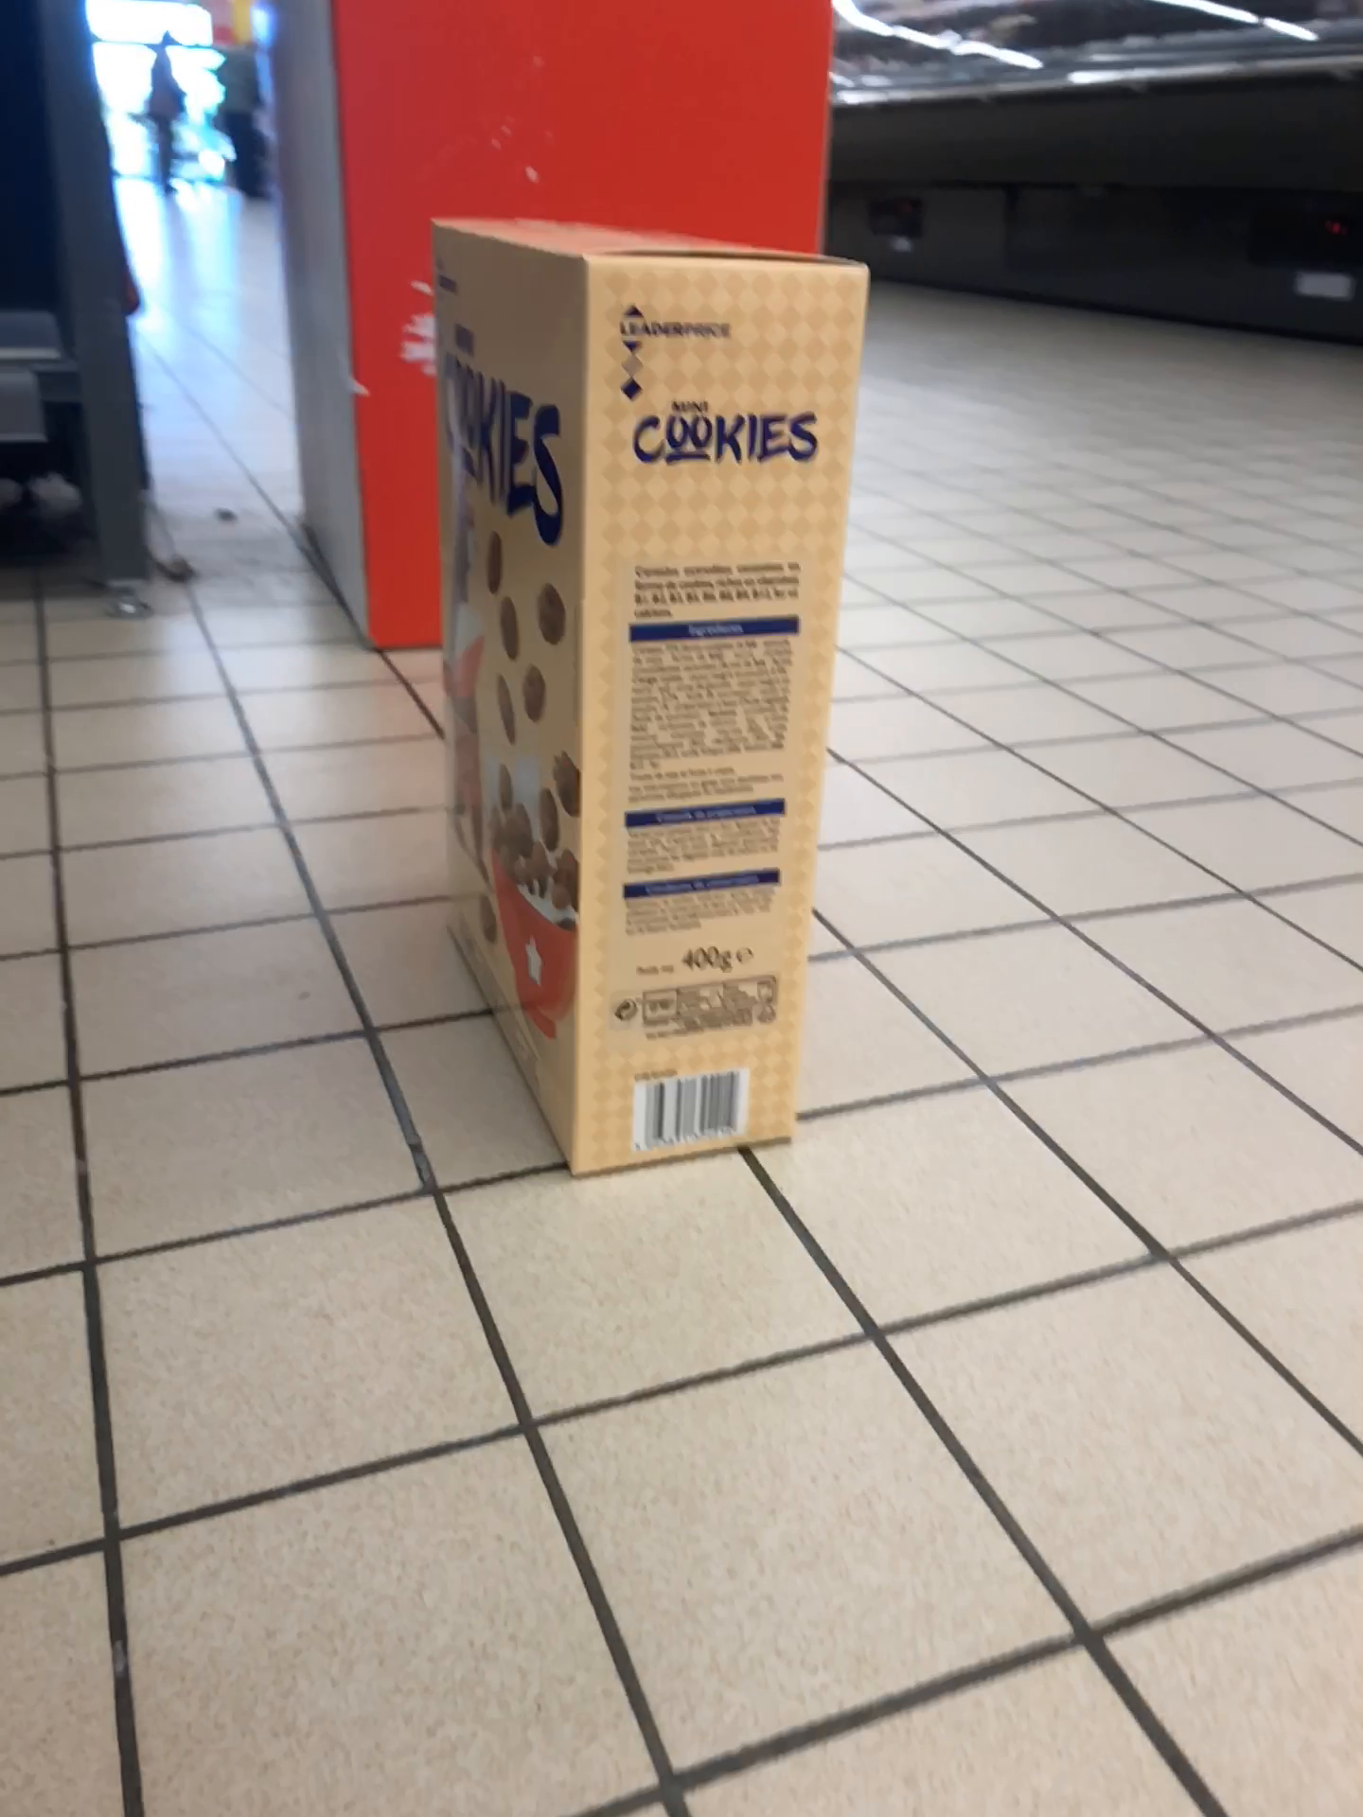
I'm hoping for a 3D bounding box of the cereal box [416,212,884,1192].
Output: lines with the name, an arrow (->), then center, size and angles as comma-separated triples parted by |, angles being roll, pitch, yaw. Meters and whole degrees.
cereal box -> -0.025, -0.083, 0.516 | 0.080, 0.278, 0.201 | -7, 27, -19
